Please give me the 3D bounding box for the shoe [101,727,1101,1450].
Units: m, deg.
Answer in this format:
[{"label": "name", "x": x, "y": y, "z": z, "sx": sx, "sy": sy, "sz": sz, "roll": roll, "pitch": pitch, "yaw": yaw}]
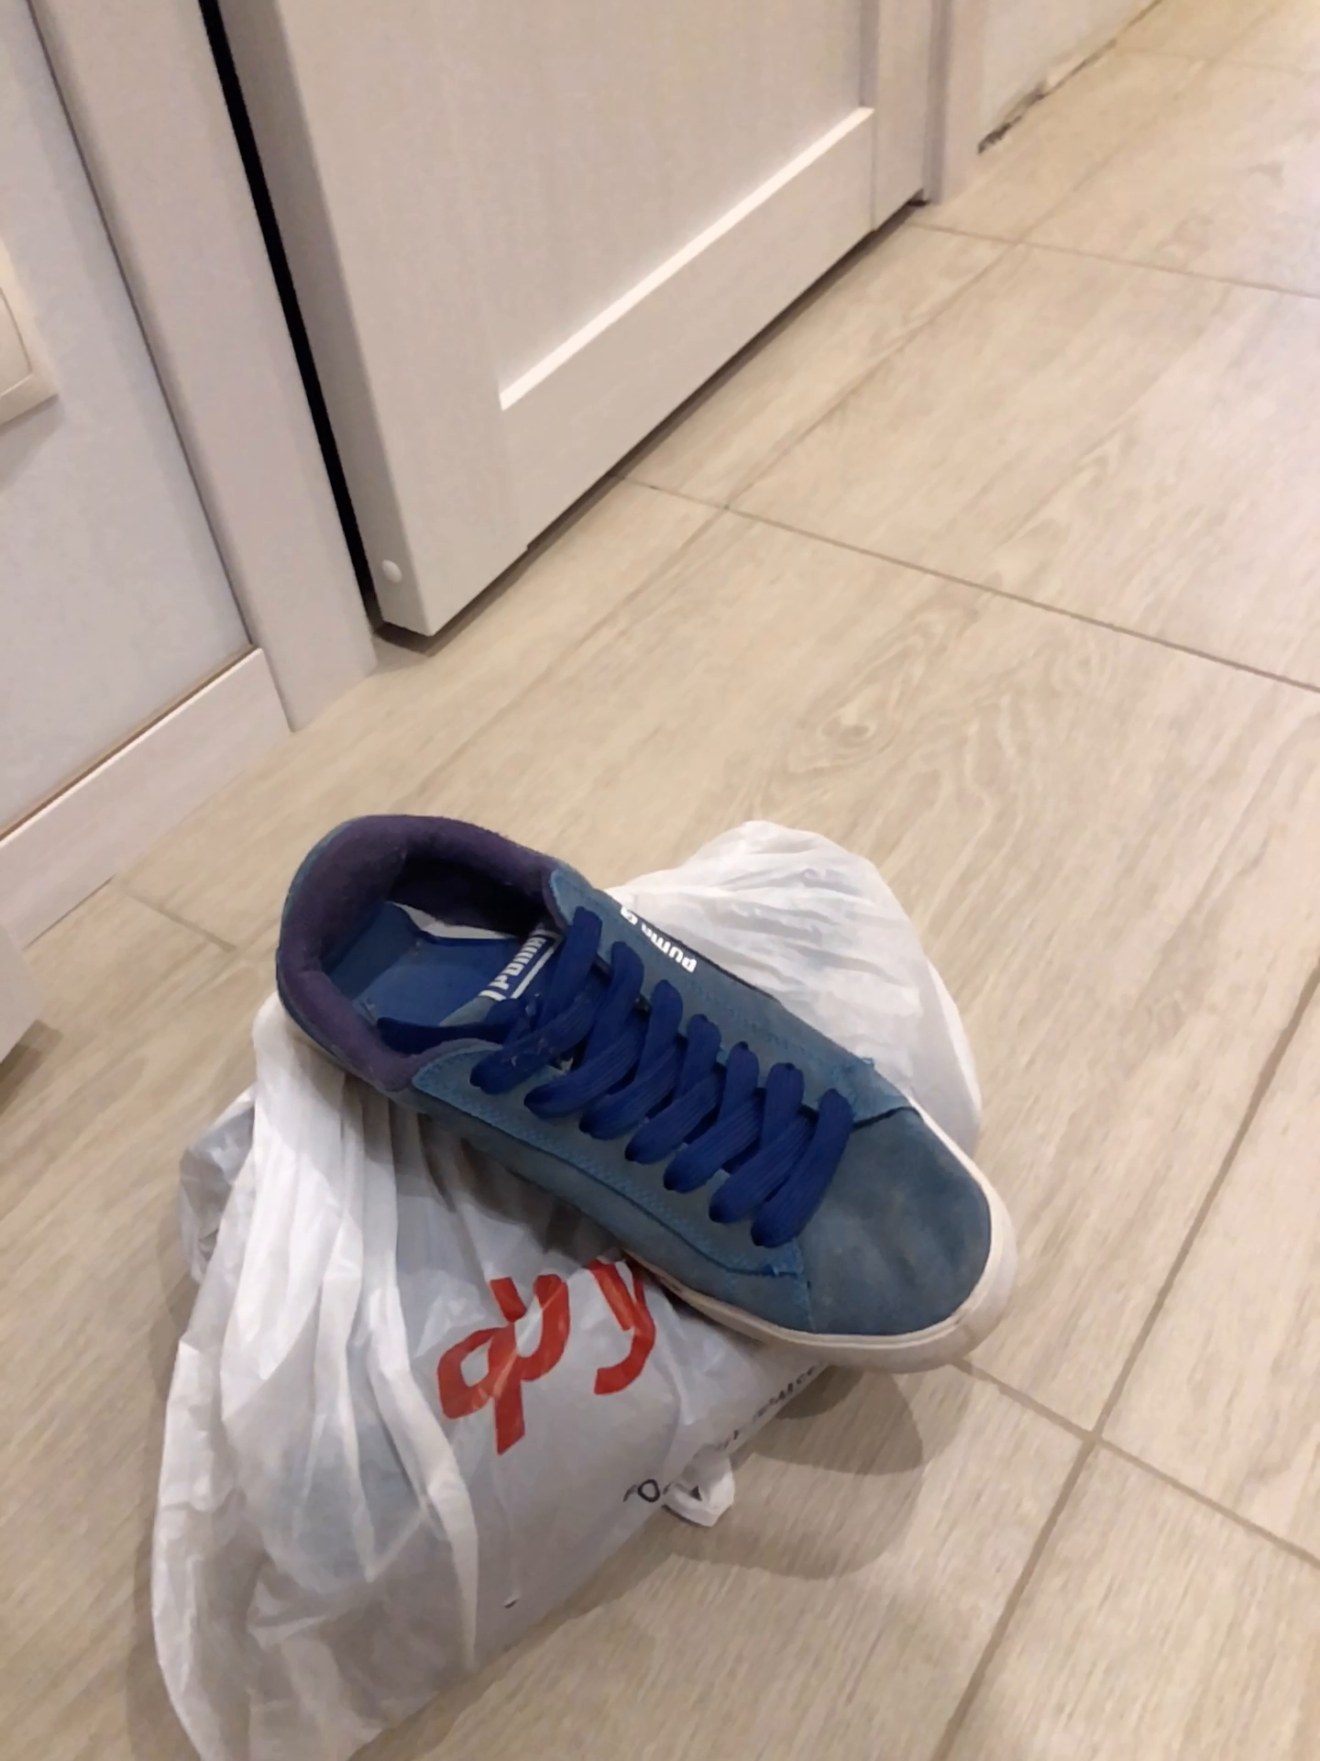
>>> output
[{"label": "shoe", "x": -0.022, "y": 0.059, "z": 0.490, "sx": 0.300, "sy": 0.099, "sz": 0.111, "roll": 19, "pitch": 58, "yaw": 22}]
